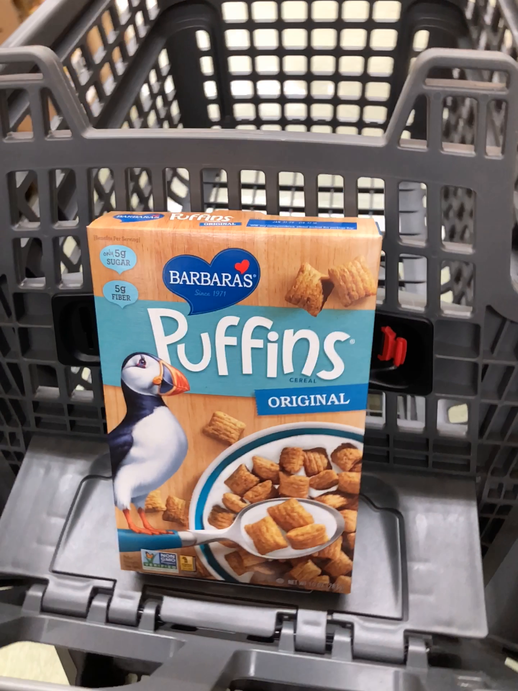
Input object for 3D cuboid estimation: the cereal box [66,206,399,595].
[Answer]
[{"bbox_3d":[-0.016,0.042,0.394,0.190,0.260,0.050,3,22,7],"label":"cereal box"}]
